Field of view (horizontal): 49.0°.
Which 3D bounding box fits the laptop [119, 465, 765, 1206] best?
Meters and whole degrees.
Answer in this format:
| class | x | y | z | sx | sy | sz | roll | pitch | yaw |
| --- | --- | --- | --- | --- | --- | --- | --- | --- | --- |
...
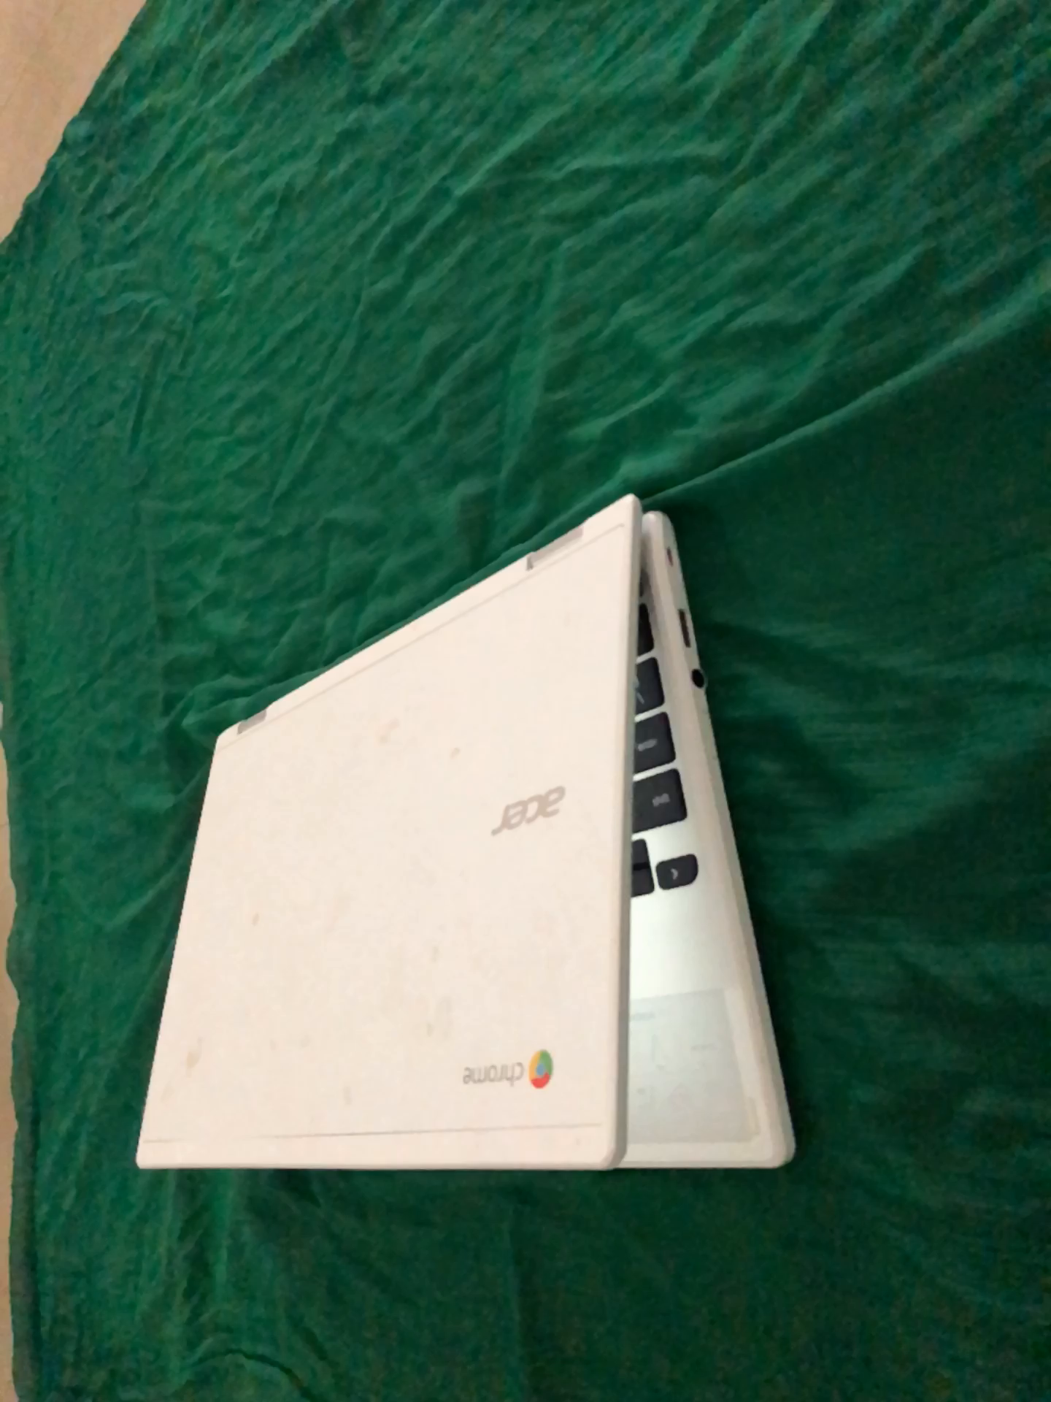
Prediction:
| class | x | y | z | sx | sy | sz | roll | pitch | yaw |
| --- | --- | --- | --- | --- | --- | --- | --- | --- | --- |
| laptop | -0.060 | 0.069 | 0.421 | 0.282 | 0.065 | 0.193 | -24 | 69 | 47 |
